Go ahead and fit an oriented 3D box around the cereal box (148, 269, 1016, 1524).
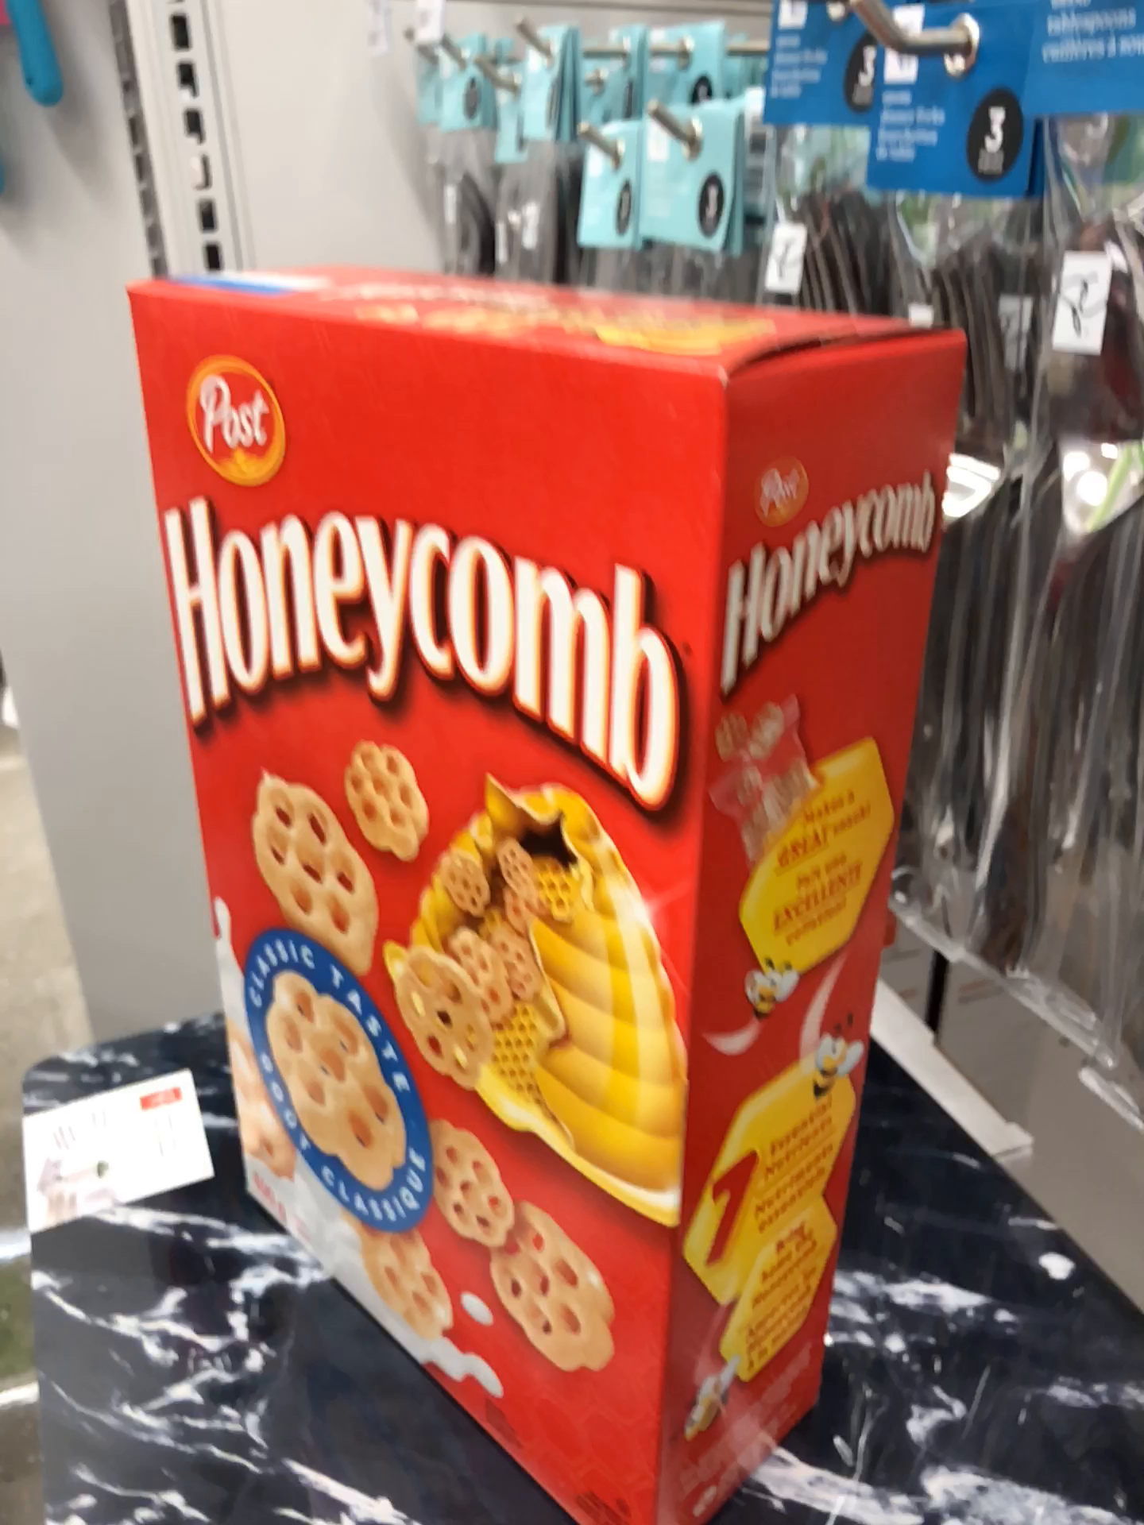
[{"bbox_3d":[-0.015,0.032,0.349,0.070,0.299,0.211,-20,32,-39],"label":"cereal box"}]
